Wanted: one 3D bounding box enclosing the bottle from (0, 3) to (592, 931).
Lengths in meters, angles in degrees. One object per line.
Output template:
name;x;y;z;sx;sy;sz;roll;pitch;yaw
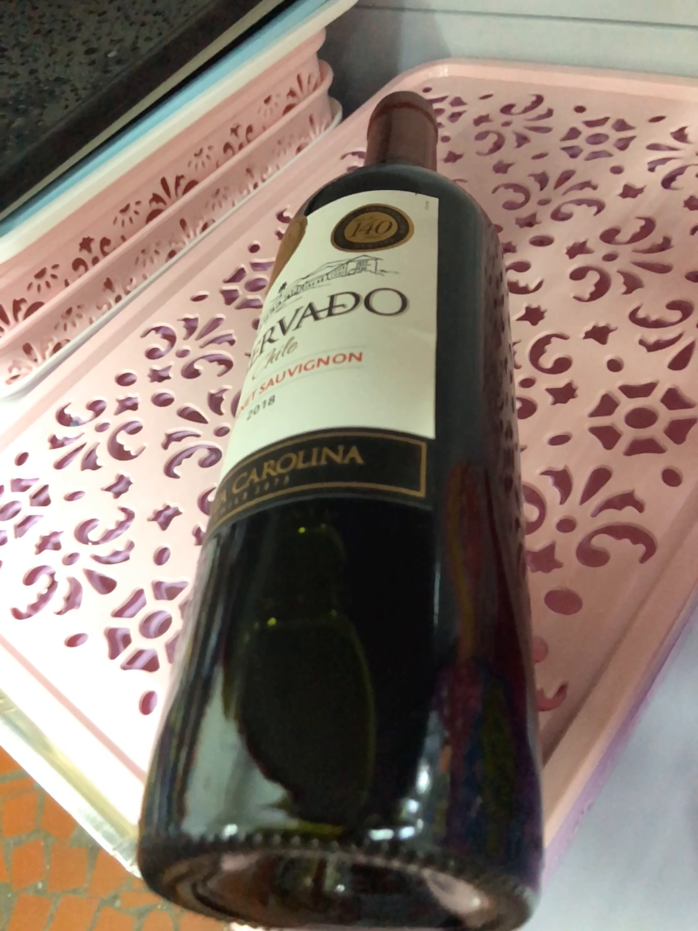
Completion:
bottle;0.013;-0.046;0.233;0.080;0.060;0.332;-6;44;15
